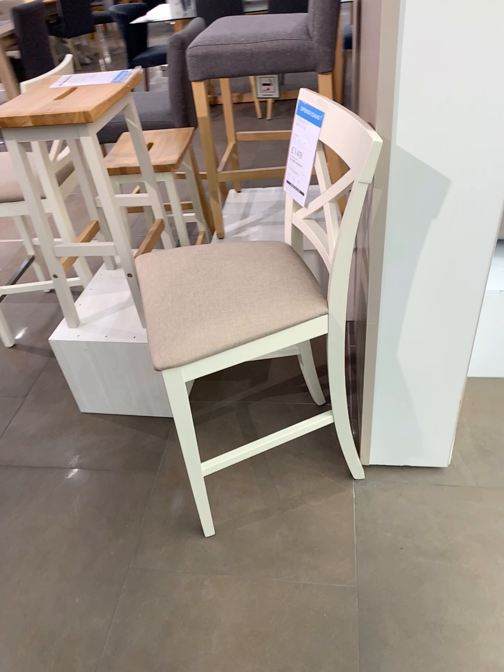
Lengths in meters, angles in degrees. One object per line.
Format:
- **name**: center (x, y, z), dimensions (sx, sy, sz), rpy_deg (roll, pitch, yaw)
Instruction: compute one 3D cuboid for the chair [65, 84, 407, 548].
- **chair**: center (-0.019, -0.013, 1.246), dimensions (0.537, 0.938, 0.453), rpy_deg (-13, 39, -7)
